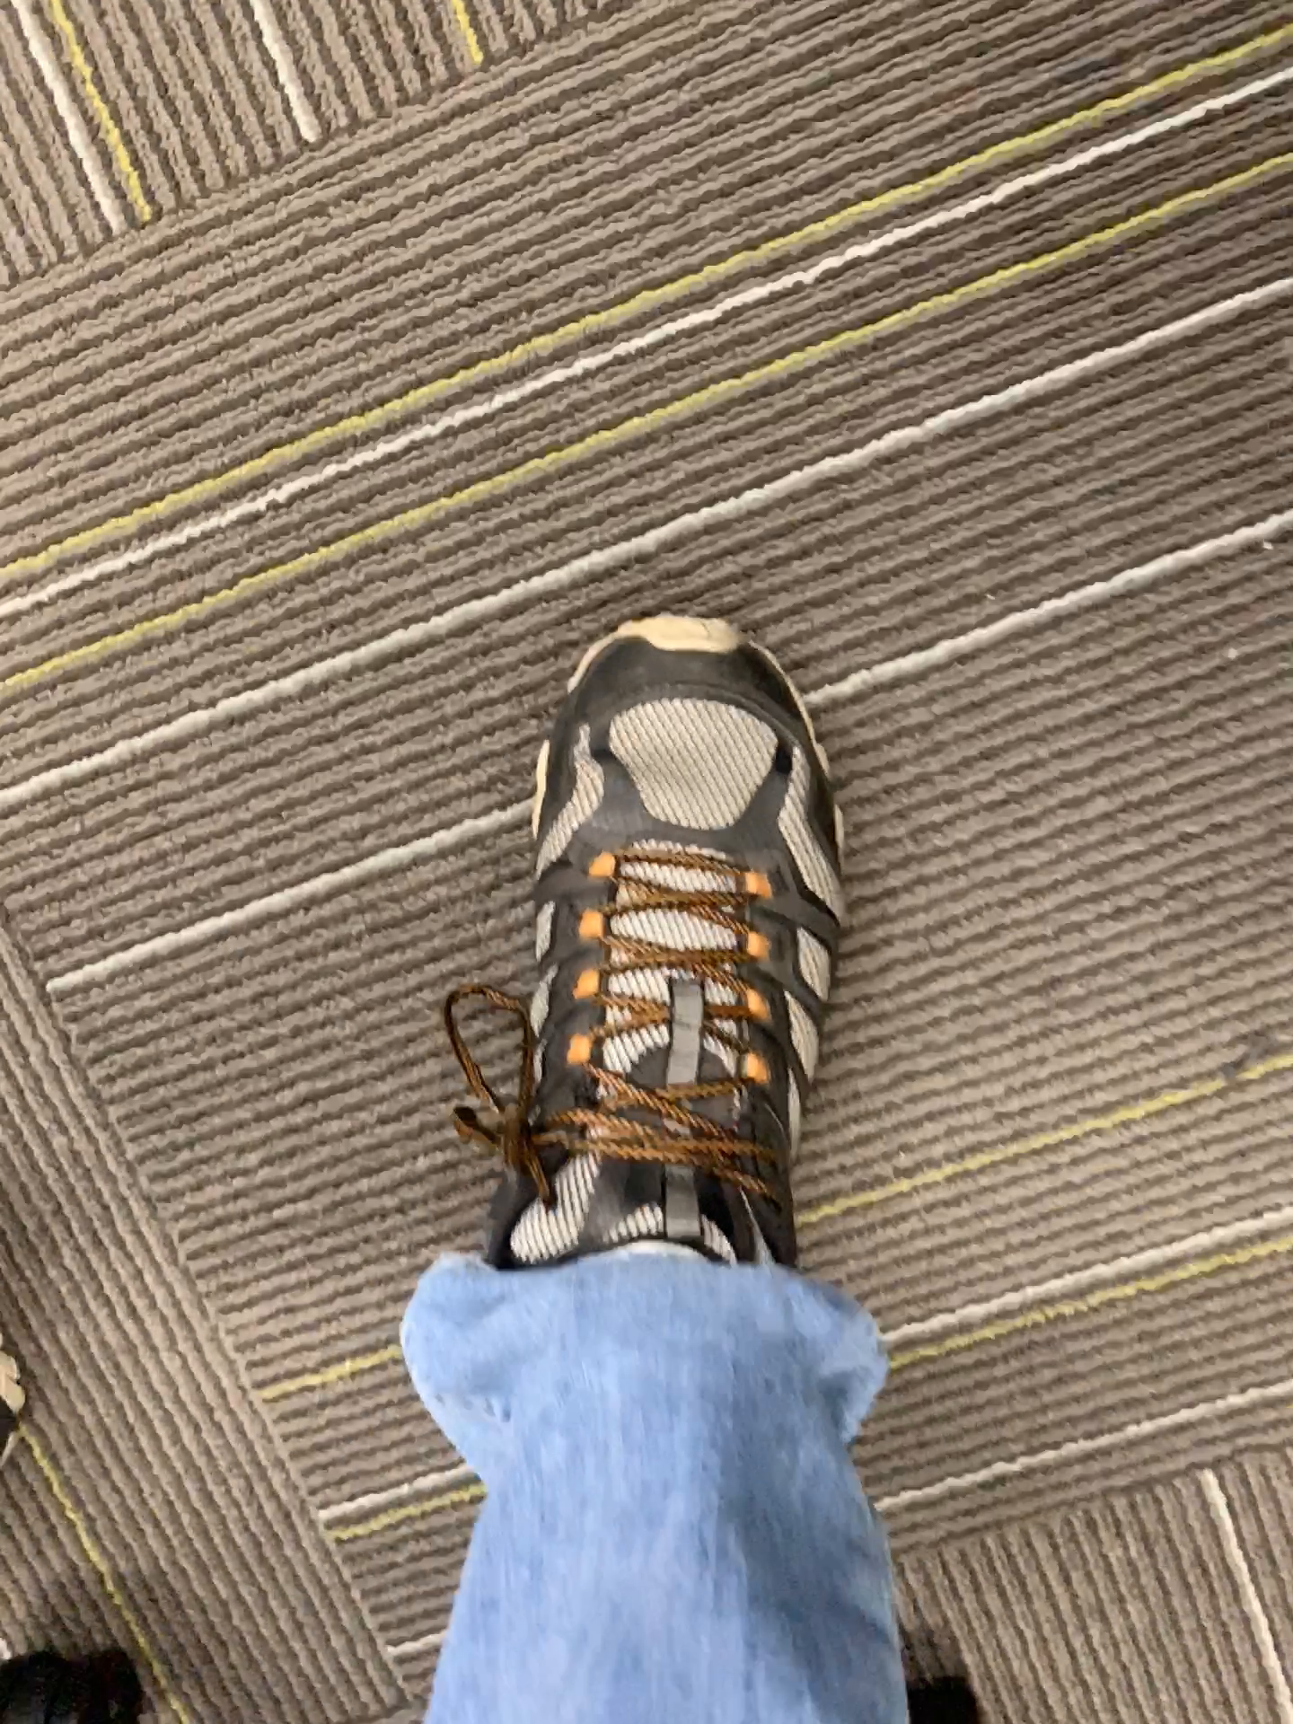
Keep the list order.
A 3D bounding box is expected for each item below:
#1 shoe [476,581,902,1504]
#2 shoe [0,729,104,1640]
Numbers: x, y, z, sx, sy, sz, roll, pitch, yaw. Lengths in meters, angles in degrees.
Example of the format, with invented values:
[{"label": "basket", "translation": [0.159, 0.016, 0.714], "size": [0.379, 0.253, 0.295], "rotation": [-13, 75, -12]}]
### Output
[{"label": "shoe", "translation": [0.009, 0.065, 0.495], "size": [0.122, 0.095, 0.323], "rotation": [4, 104, 1]}, {"label": "shoe", "translation": [-0.354, 0.126, 0.524], "size": [0.125, 0.095, 0.324], "rotation": [-16, 103, 6]}]
